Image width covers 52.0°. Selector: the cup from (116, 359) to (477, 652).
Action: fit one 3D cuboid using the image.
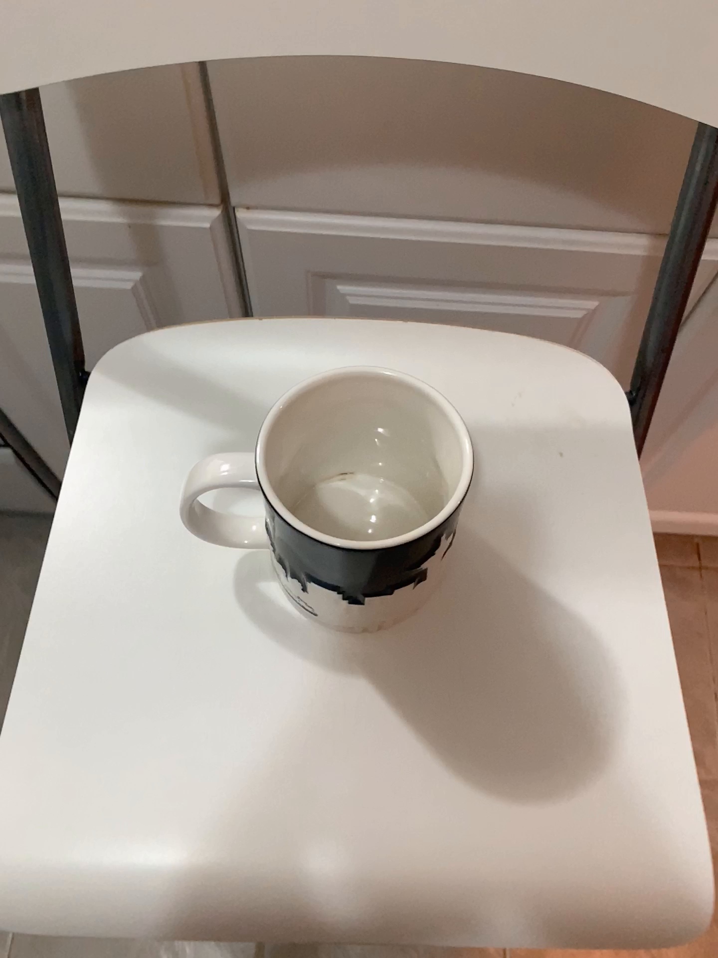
[{"bbox_3d":[-0.023,0.018,0.359,0.143,0.100,0.104,4,66,0],"label":"cup"}]
